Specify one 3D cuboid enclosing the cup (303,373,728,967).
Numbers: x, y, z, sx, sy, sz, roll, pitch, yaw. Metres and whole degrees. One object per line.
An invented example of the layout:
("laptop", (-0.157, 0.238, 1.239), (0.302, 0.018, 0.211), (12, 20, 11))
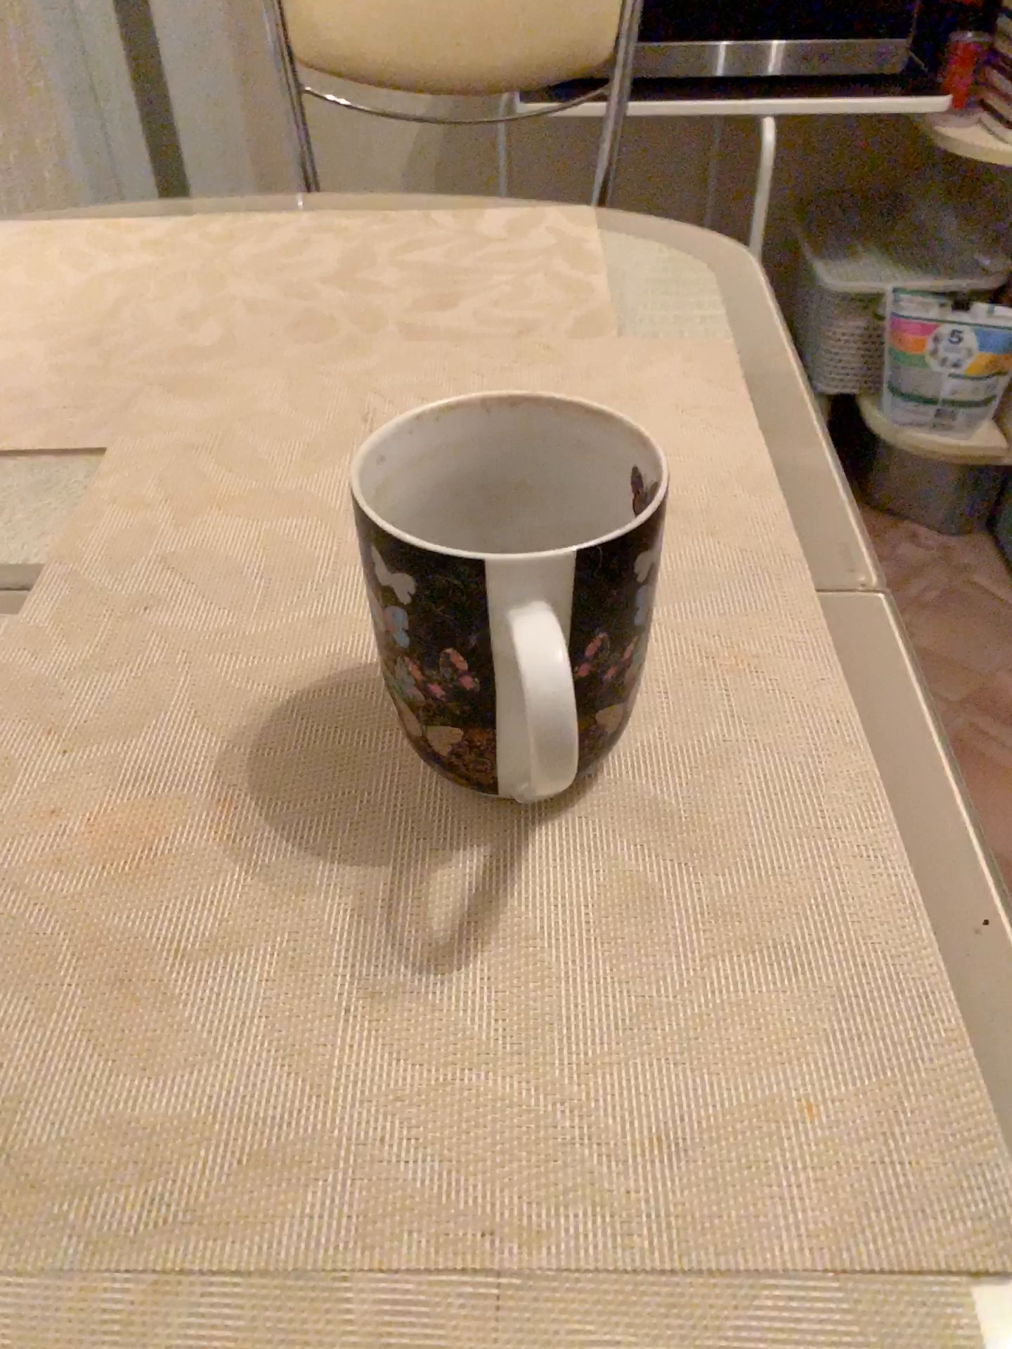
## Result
("cup", (0.001, -0.005, 0.279), (0.081, 0.097, 0.127), (-2, 42, 0))
